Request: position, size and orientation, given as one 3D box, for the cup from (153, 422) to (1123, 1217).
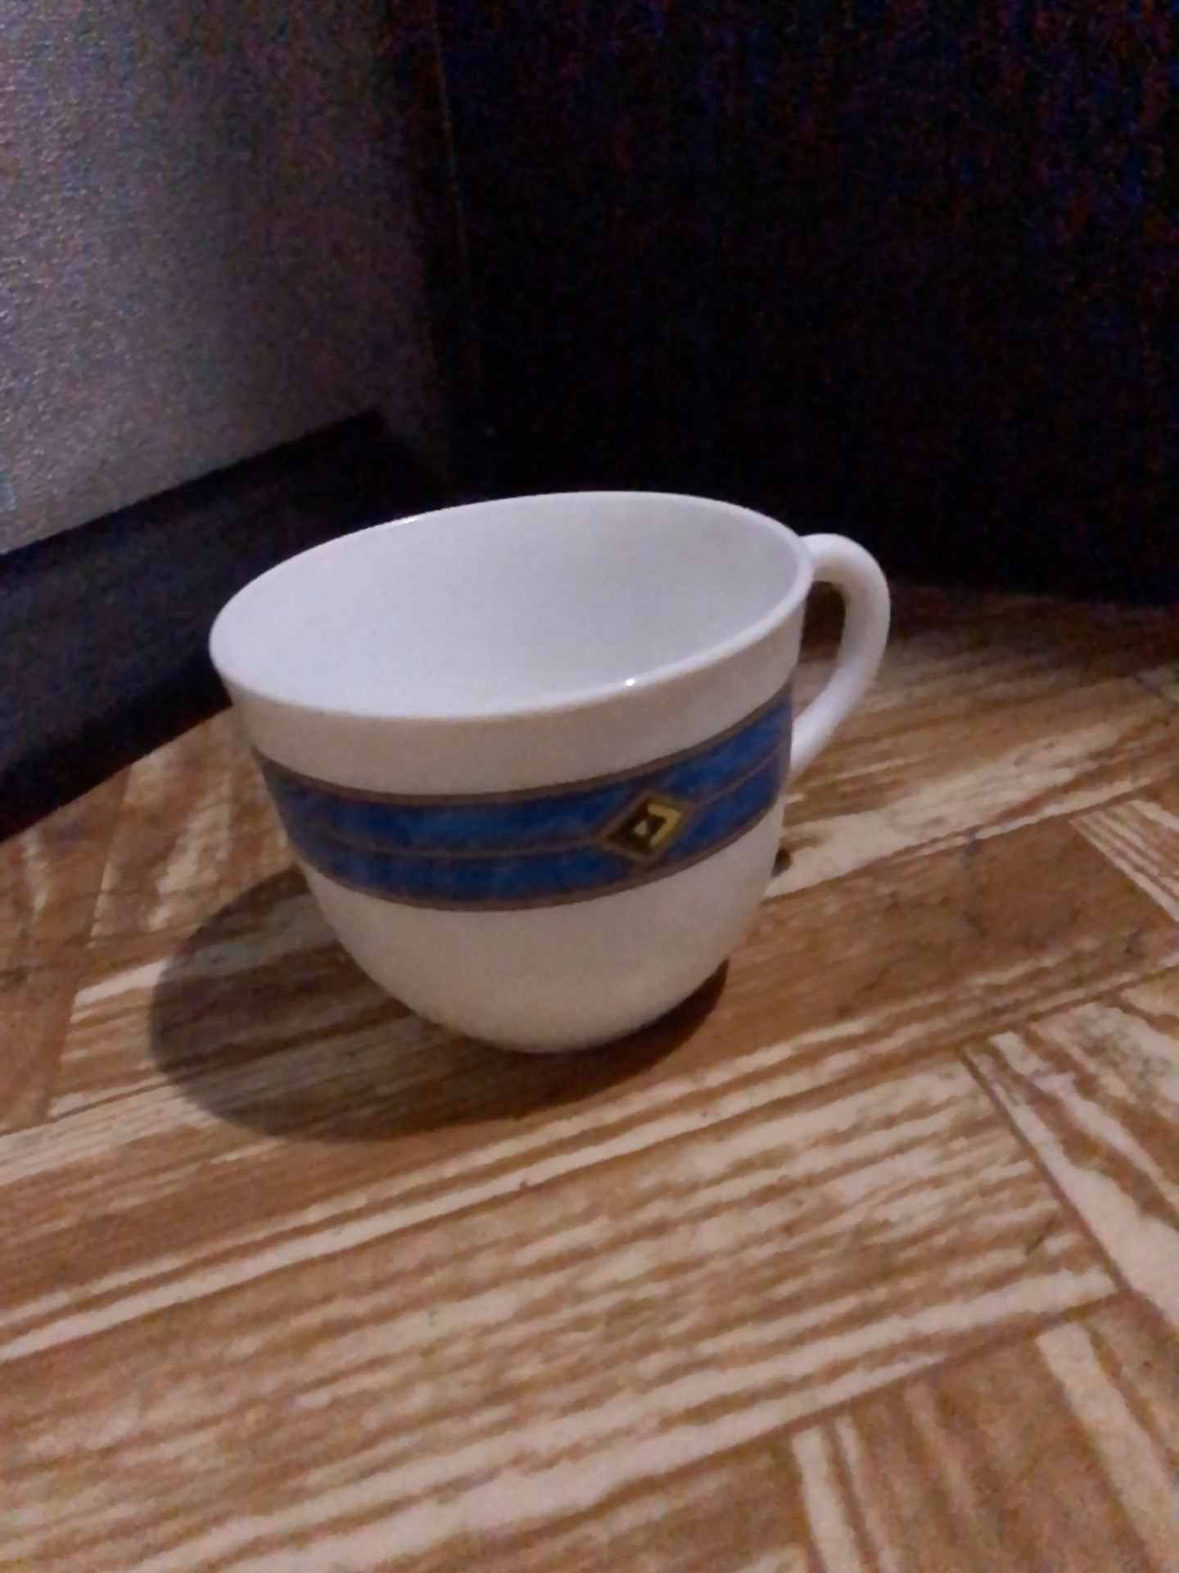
[{"bbox_3d":[0.005,-0.008,0.203,0.111,0.062,0.088,-19,31,-24],"label":"cup"}]
